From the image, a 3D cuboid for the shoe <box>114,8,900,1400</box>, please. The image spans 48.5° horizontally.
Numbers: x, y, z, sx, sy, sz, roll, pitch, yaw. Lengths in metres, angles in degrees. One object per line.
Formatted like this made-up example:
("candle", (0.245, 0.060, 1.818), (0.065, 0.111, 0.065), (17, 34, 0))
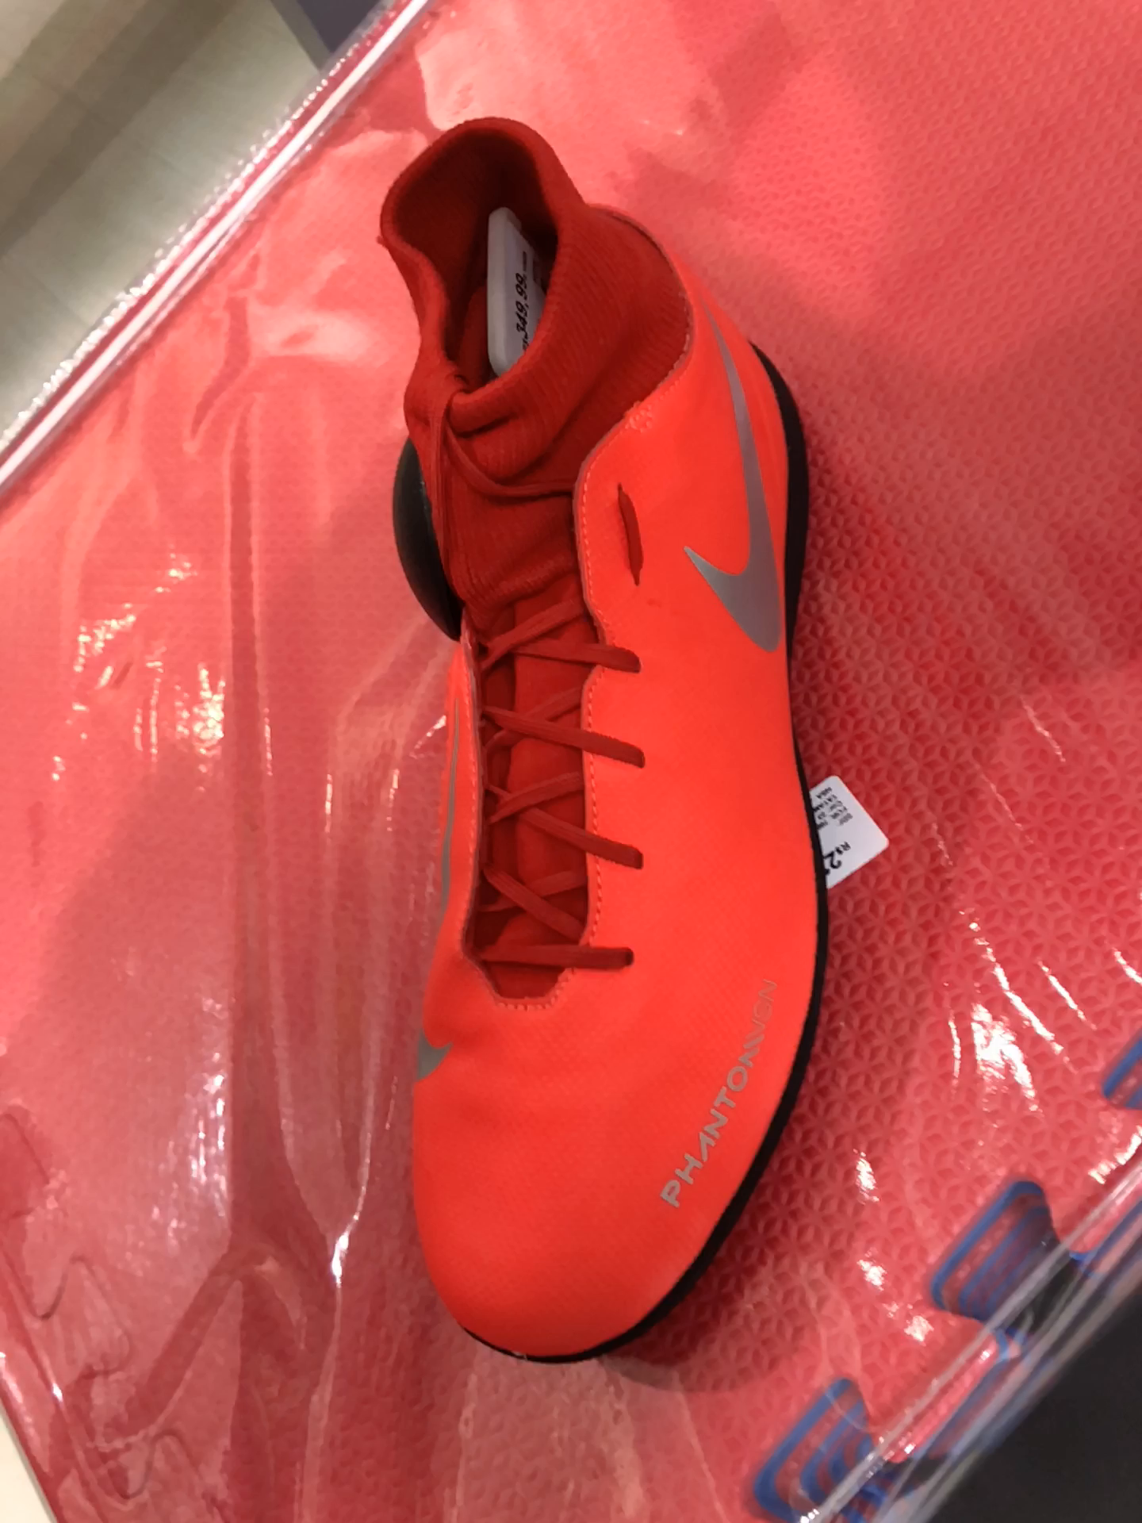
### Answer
("shoe", (0.012, -0.010, 0.271), (0.090, 0.119, 0.251), (-4, 64, 24))
